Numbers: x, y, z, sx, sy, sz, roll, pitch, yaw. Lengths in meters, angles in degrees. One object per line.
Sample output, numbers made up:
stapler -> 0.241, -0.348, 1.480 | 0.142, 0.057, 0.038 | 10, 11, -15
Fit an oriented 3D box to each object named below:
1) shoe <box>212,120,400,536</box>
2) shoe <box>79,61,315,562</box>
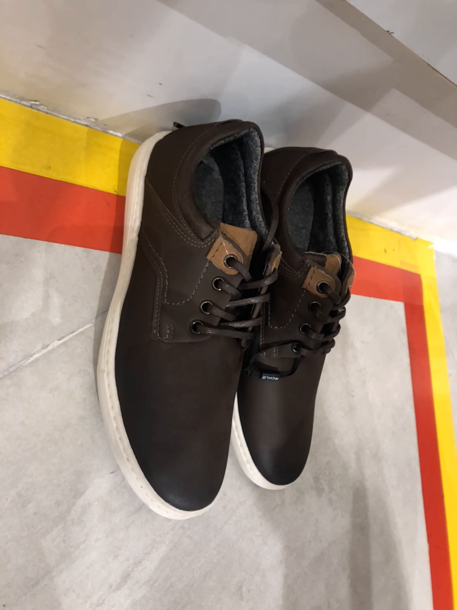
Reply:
shoe -> 0.059, 0.014, 0.399 | 0.101, 0.099, 0.270 | -1, 93, -41
shoe -> -0.020, 0.004, 0.343 | 0.101, 0.099, 0.270 | 7, 85, -40
